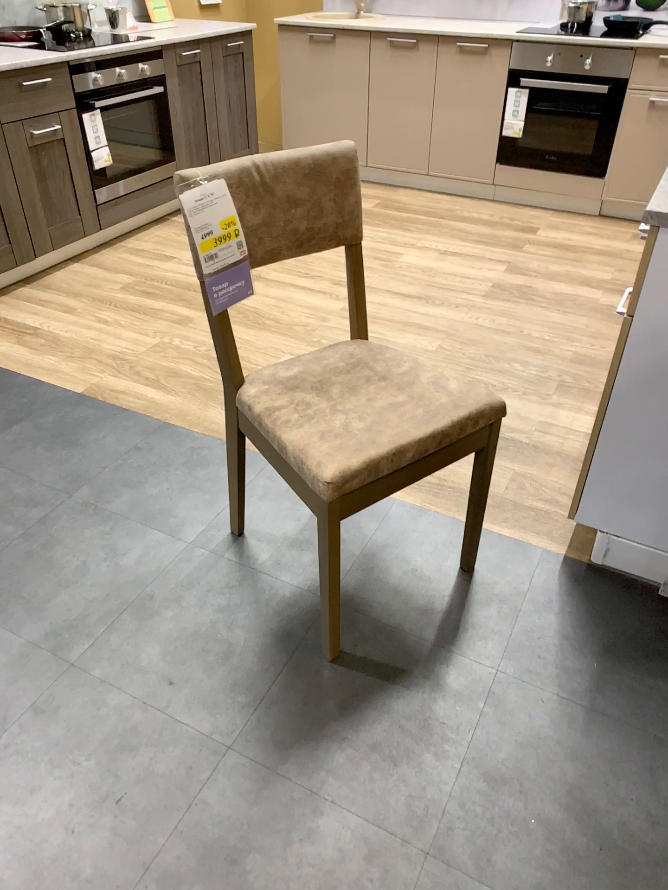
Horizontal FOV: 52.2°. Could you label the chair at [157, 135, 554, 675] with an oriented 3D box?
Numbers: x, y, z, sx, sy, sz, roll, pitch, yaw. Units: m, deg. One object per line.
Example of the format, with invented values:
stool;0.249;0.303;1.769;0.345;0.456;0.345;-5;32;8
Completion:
chair;0.021;-0.092;1.460;0.481;0.925;0.512;-24;42;-30
